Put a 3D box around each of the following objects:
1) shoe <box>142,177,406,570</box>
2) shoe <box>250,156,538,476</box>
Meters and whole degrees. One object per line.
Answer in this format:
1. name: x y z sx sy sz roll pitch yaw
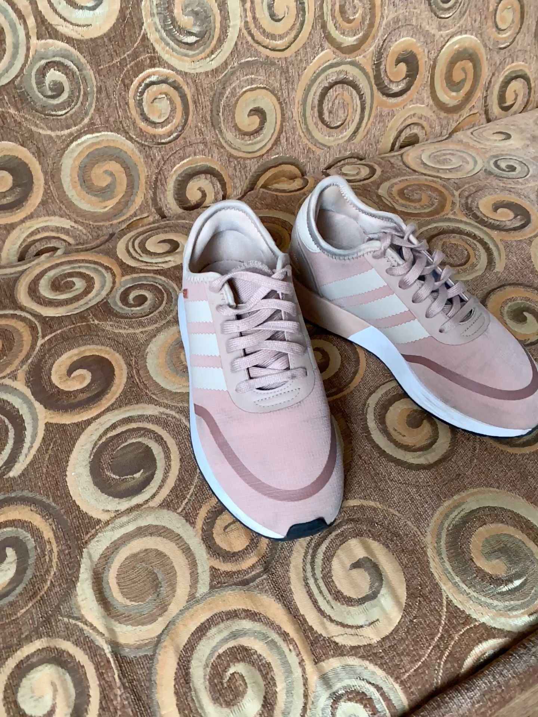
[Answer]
1. shoe: -0.013 -0.005 0.382 0.100 0.090 0.251 -12 56 -11
2. shoe: 0.111 -0.042 0.427 0.250 0.090 0.100 38 61 22
